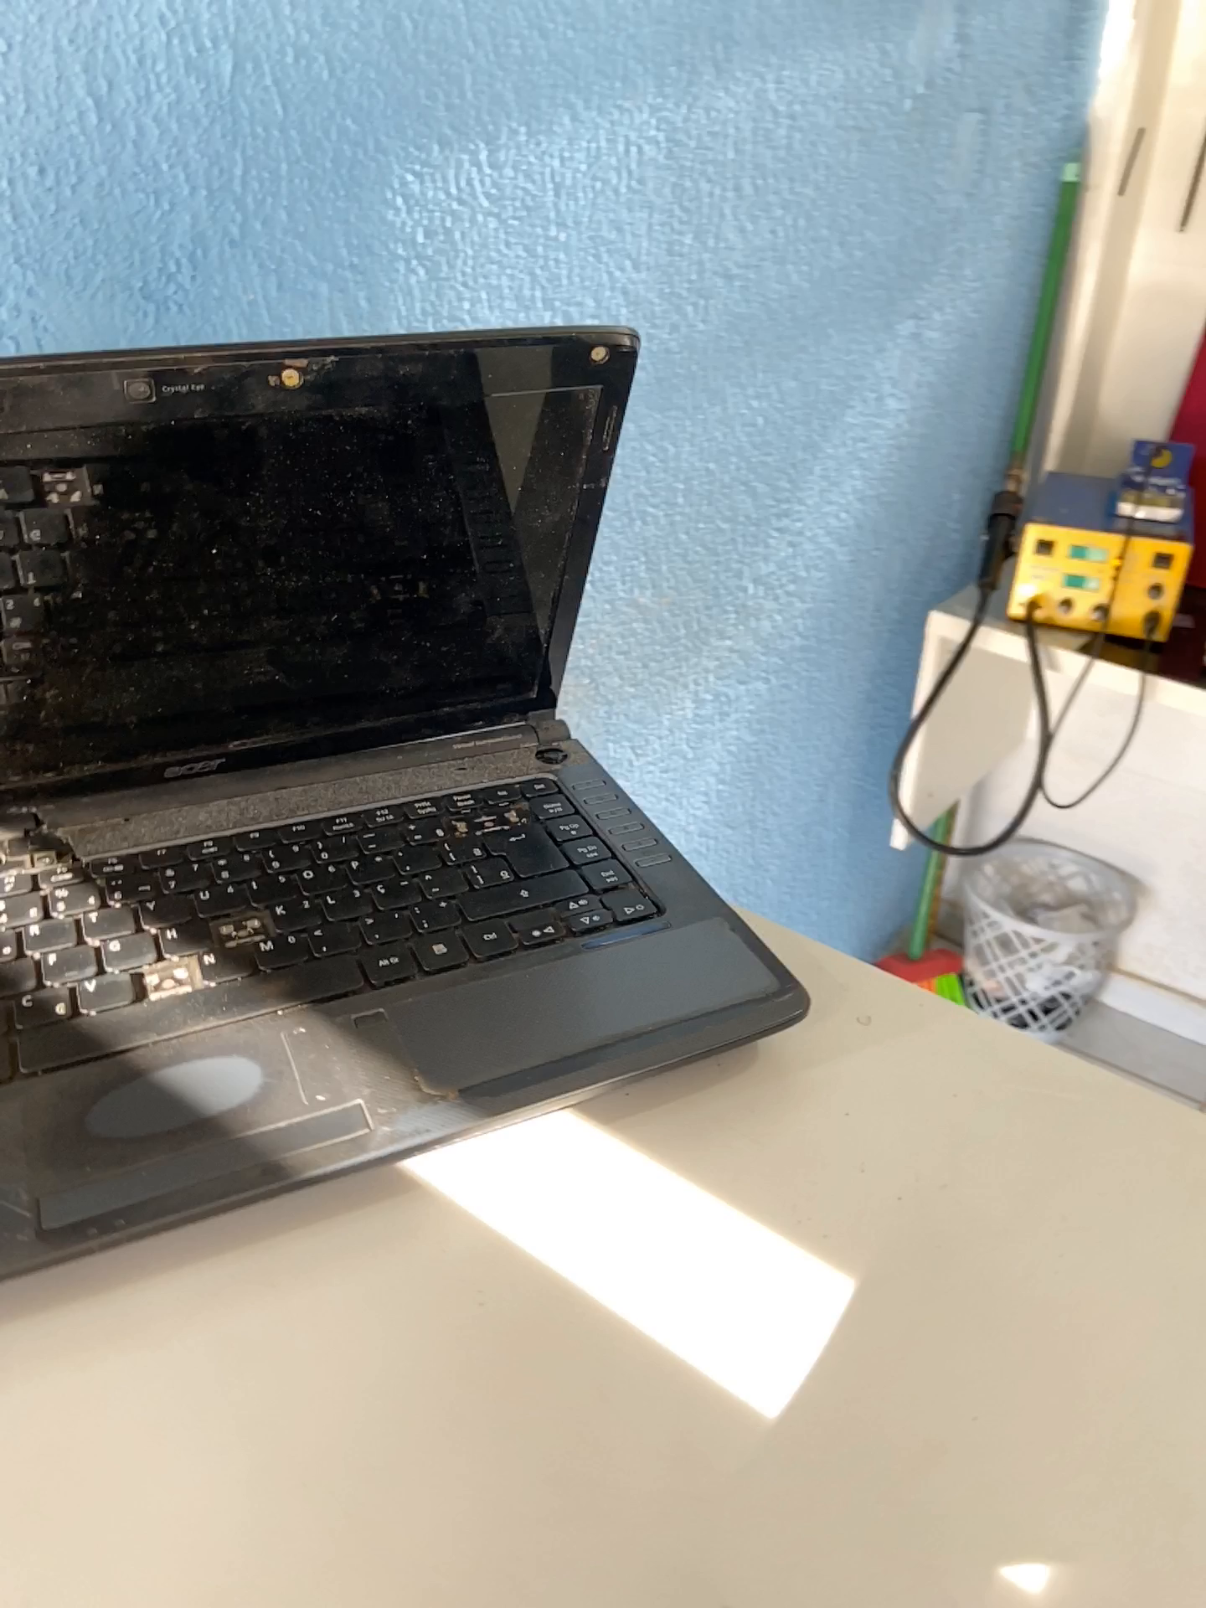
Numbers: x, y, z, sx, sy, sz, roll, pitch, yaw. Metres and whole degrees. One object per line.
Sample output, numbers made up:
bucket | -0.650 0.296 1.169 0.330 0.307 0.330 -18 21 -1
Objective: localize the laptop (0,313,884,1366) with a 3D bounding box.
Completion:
laptop | -0.128 -0.033 0.400 0.334 0.182 0.229 -12 33 -22
